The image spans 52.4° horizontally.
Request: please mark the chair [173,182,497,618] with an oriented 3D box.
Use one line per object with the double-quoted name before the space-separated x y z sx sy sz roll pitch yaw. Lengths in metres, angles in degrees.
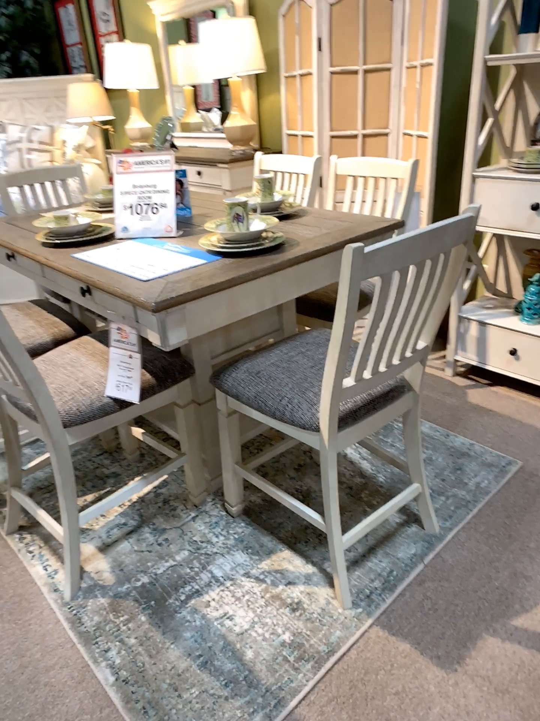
"chair" 0.159 0.050 1.505 0.491 0.925 0.592 -23 32 -35
